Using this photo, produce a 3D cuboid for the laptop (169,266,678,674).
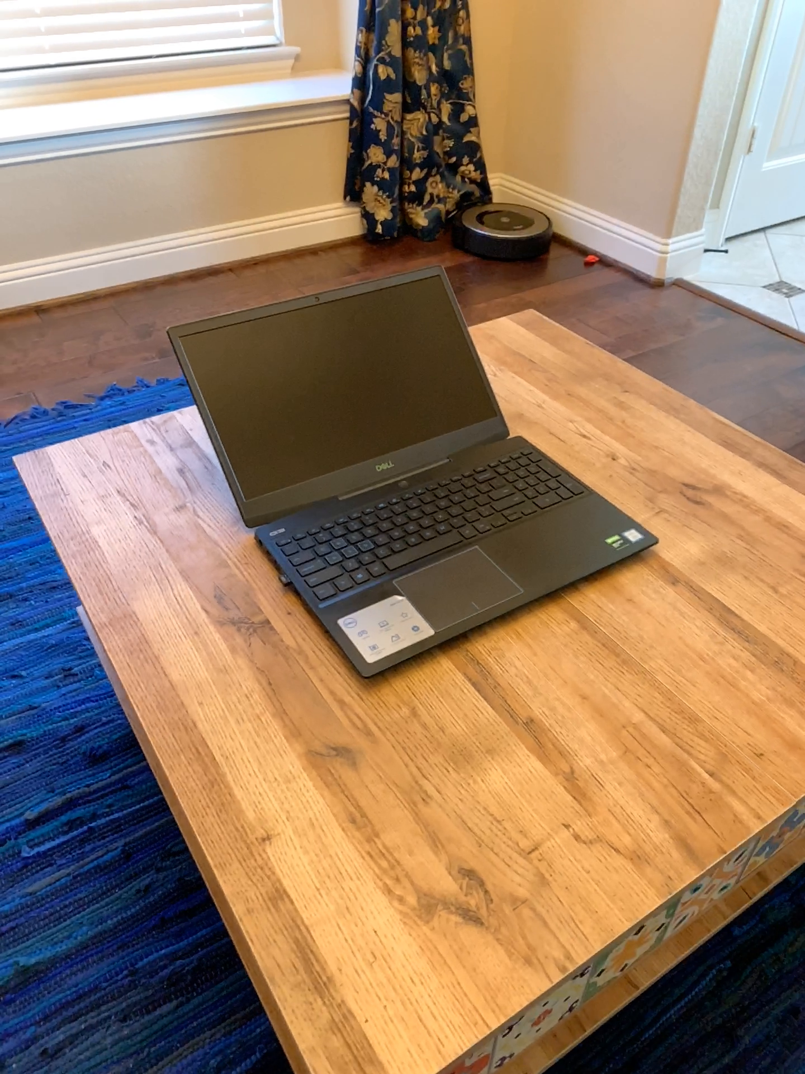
[{"bbox_3d":[-0.001,-0.111,0.882,0.346,0.156,0.419,-21,44,-24],"label":"laptop"}]
